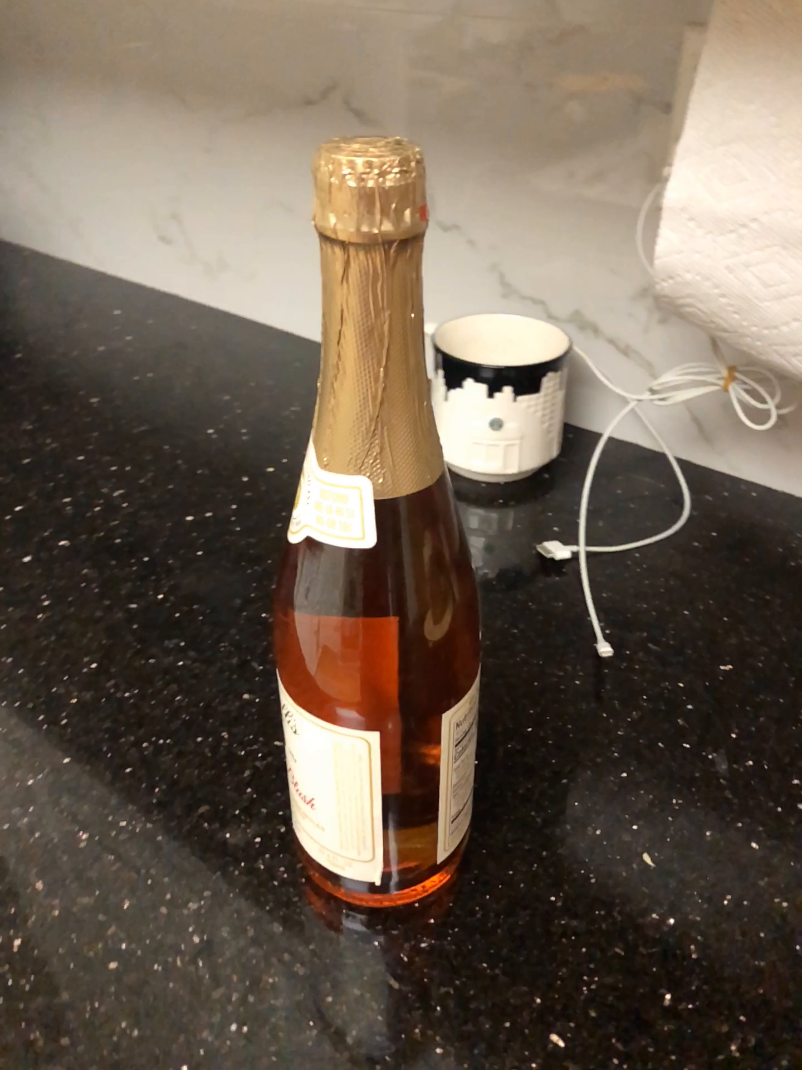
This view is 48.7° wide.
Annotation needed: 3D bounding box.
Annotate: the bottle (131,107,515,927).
[{"bbox_3d":[-0.014,0.013,0.330,0.090,0.298,0.091,0,35,0],"label":"bottle"}]
